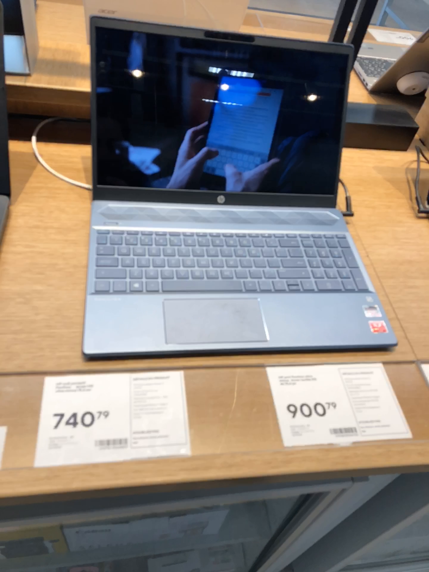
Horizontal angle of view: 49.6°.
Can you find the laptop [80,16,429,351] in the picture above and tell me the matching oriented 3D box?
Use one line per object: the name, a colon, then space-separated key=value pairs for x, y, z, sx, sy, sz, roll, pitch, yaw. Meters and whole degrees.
laptop: x=0.031 y=-0.129 z=0.546 sx=0.338 sy=0.185 sz=0.357 roll=0 pitch=48 yaw=-13
